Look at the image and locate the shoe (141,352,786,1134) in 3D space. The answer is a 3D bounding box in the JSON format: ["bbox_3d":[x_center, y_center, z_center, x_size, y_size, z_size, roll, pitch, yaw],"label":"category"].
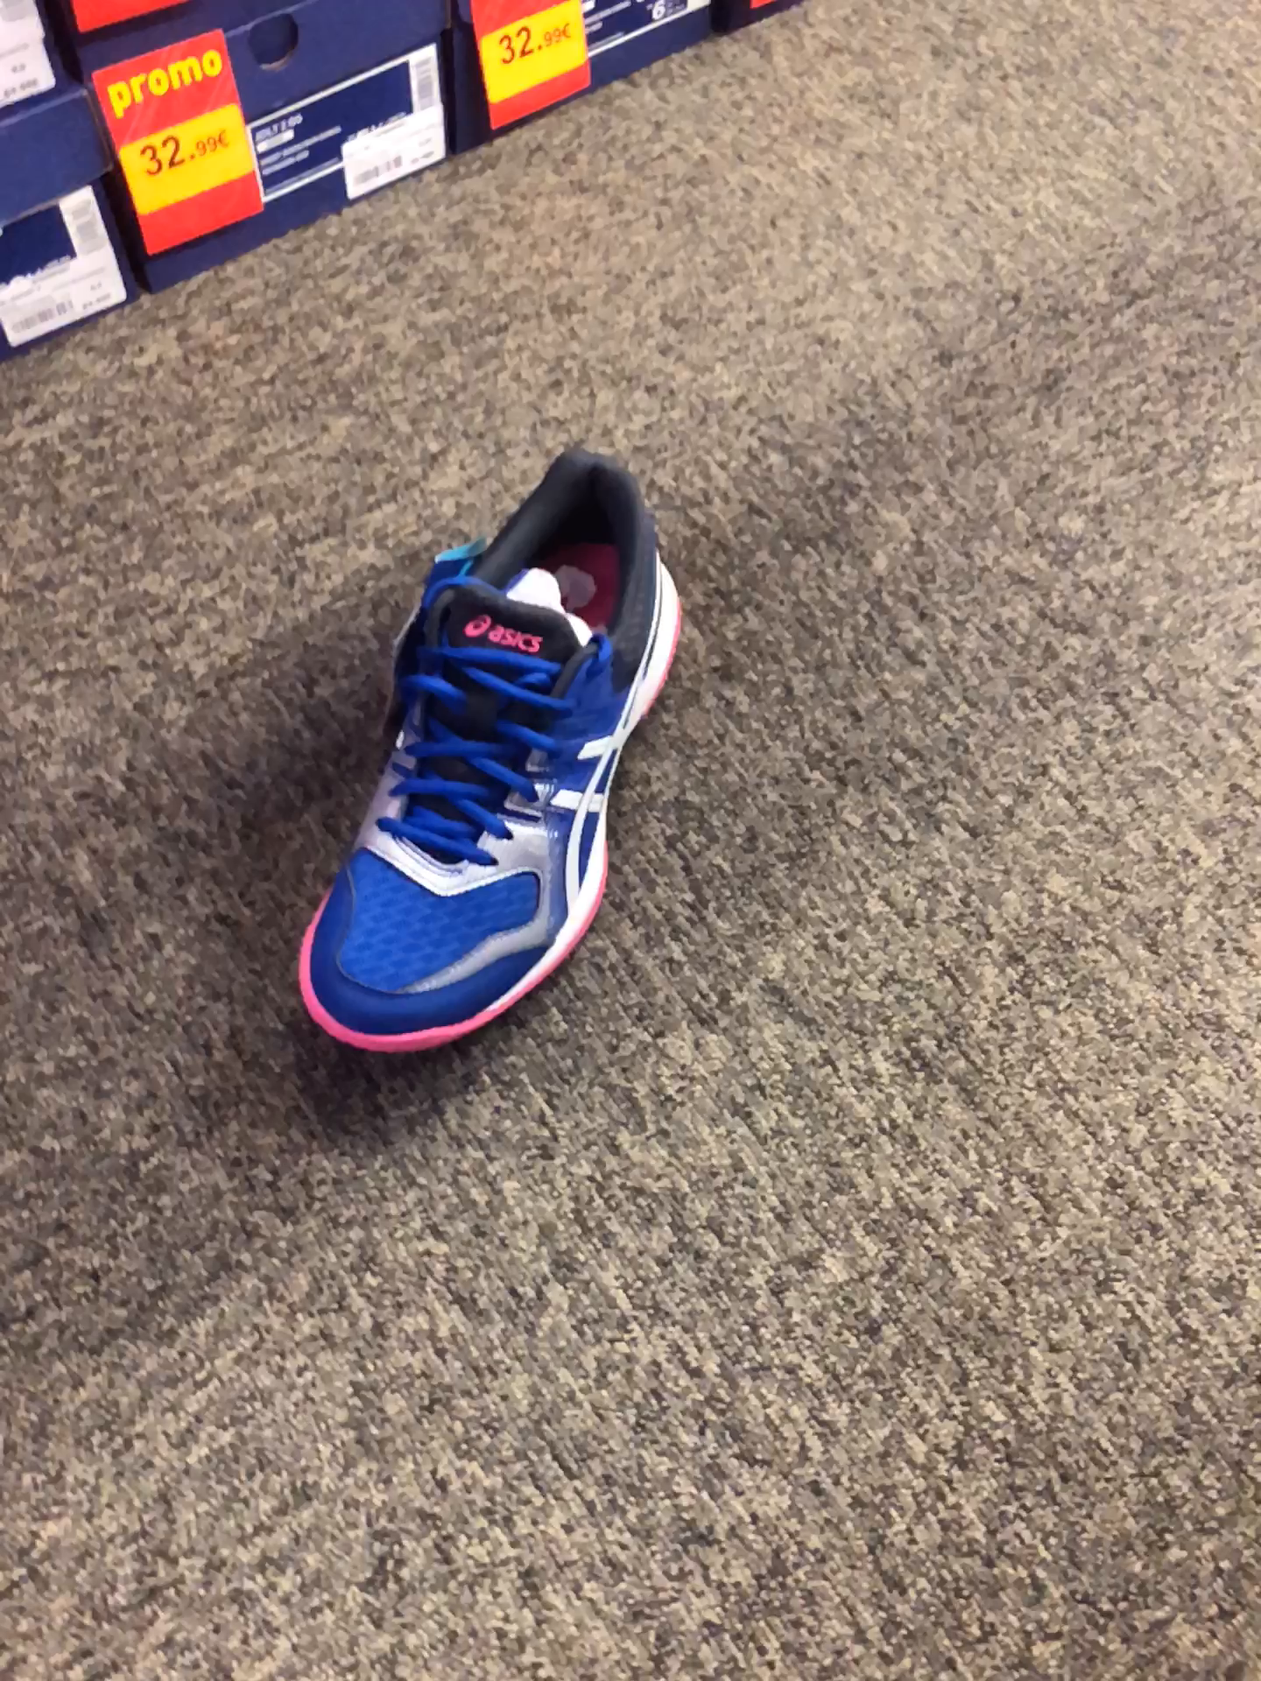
[{"bbox_3d":[-0.051,-0.045,0.547,0.125,0.100,0.271,22,64,7],"label":"shoe"}]
